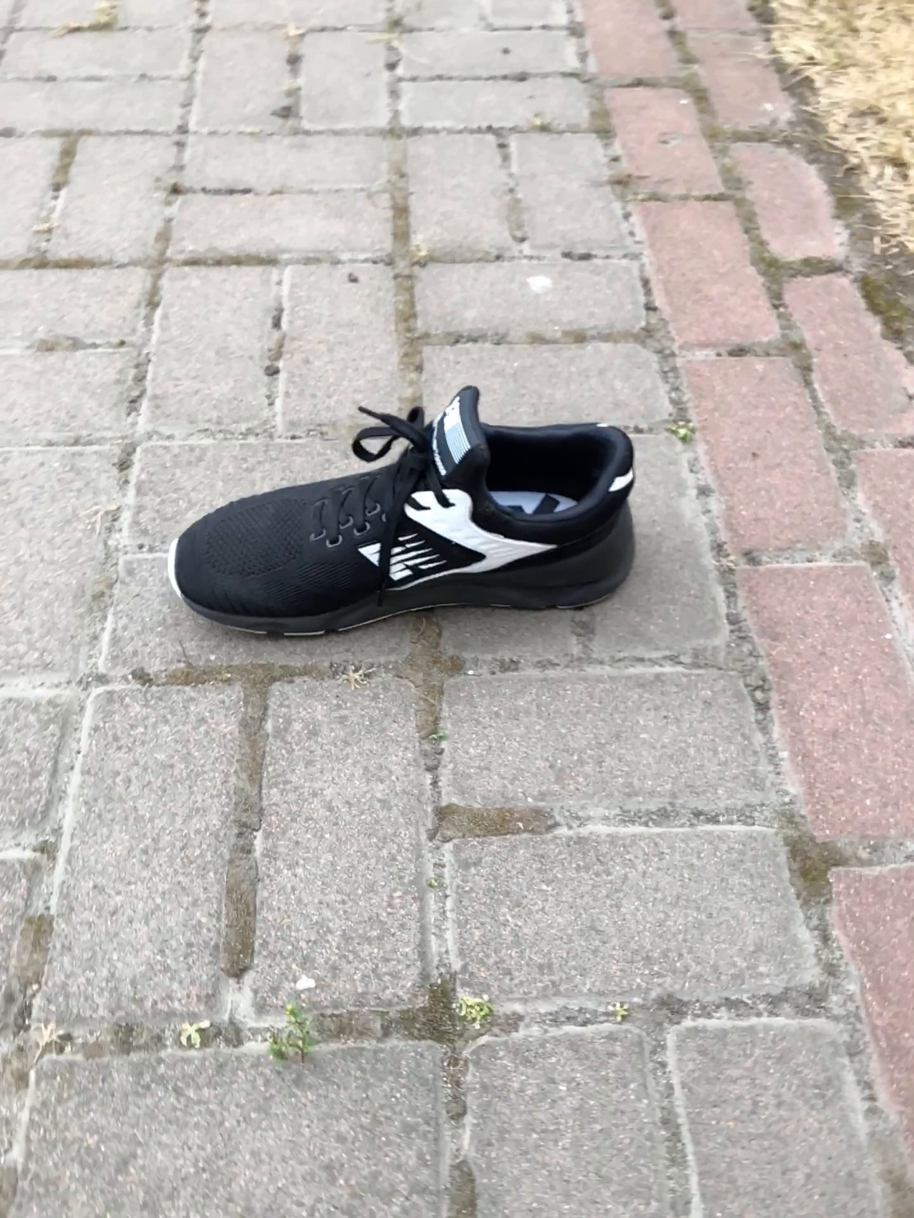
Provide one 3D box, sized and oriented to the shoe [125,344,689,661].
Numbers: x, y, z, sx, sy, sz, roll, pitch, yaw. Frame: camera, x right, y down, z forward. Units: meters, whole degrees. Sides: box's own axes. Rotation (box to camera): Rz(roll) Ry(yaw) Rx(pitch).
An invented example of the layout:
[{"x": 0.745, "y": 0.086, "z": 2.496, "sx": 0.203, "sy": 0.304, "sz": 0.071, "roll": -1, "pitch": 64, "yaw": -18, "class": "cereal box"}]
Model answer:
[{"x": -0.029, "y": -0.059, "z": 0.579, "sx": 0.280, "sy": 0.129, "sz": 0.101, "roll": -5, "pitch": 55, "yaw": -5, "class": "shoe"}]
